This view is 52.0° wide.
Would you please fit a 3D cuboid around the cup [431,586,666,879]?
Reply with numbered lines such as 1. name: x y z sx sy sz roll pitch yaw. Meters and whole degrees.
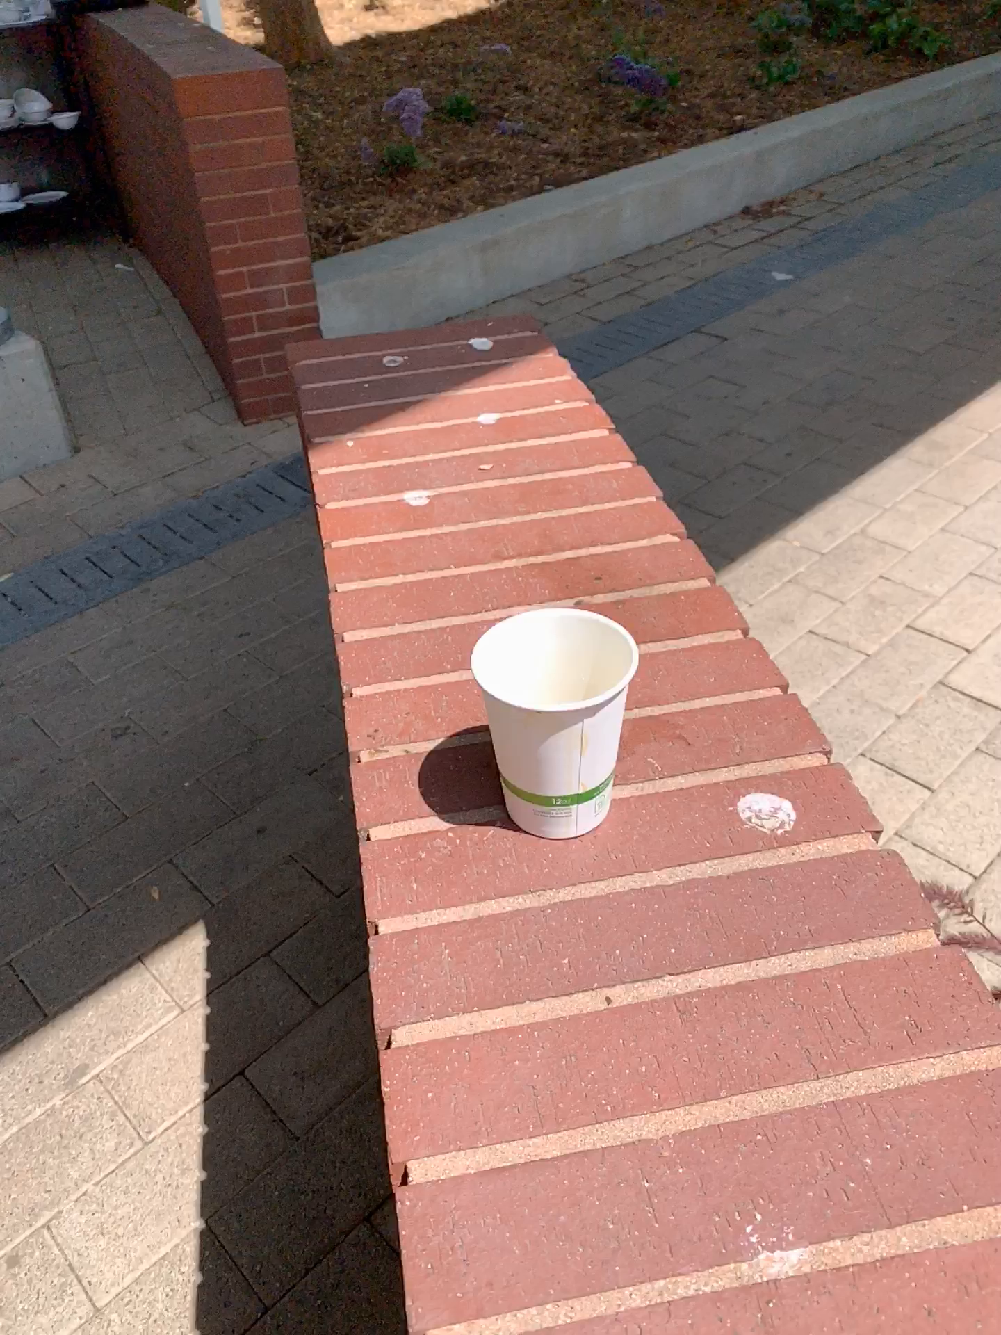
1. cup: 0.026 0.035 0.582 0.090 0.109 0.090 -2 39 1
